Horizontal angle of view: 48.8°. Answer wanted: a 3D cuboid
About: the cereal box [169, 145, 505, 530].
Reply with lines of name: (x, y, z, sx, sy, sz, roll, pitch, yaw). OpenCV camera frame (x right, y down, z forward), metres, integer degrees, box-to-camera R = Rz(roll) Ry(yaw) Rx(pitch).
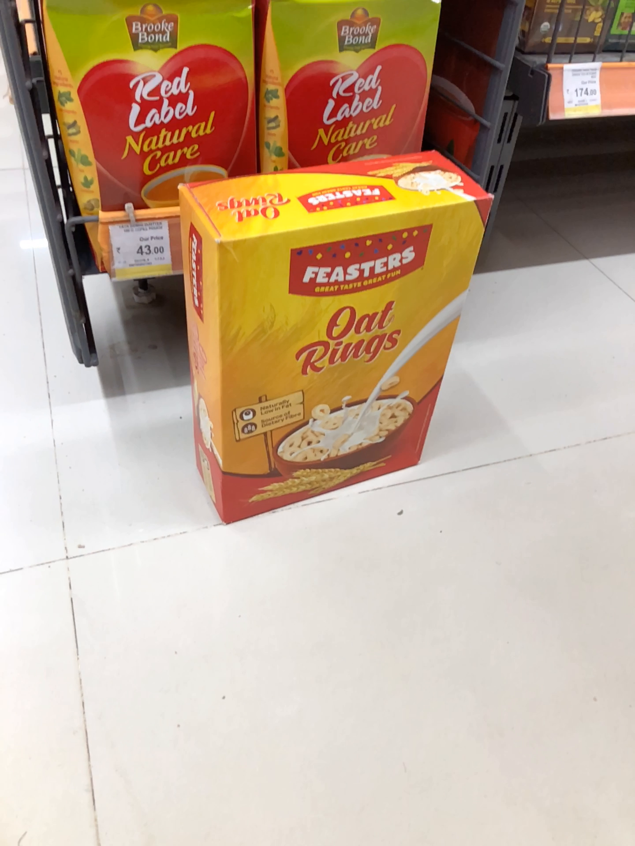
cereal box: (0.005, -0.049, 0.456, 0.171, 0.218, 0.070, -15, 47, -21)

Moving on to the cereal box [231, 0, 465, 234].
cereal box: (0.013, -0.225, 0.478, 0.120, 0.149, 0.080, -16, 48, -21)

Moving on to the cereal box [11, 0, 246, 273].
cereal box: (-0.117, -0.202, 0.465, 0.120, 0.169, 0.080, -12, 46, -18)
